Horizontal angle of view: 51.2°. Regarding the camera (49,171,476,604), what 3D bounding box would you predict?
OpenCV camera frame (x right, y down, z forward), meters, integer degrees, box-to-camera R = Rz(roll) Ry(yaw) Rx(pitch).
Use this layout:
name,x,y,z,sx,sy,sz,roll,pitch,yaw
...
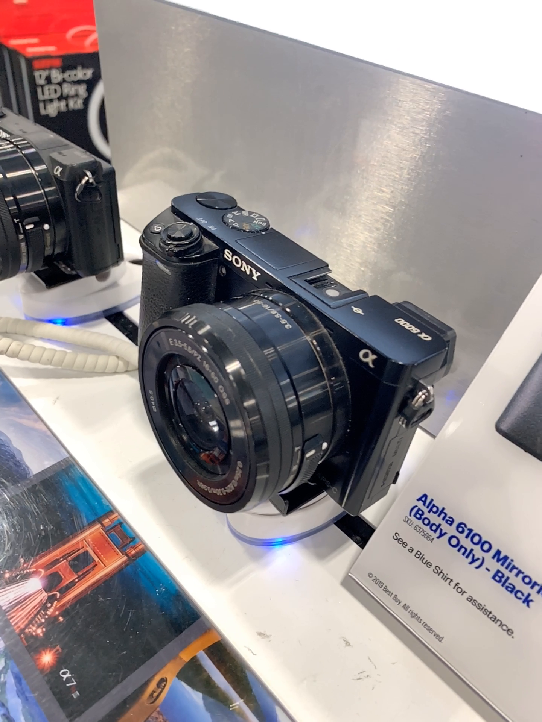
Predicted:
name,x,y,z,sx,sy,sz,roll,pitch,yaw
camera,-0.014,-0.003,0.188,0.065,0.074,0.120,-21,47,-38
